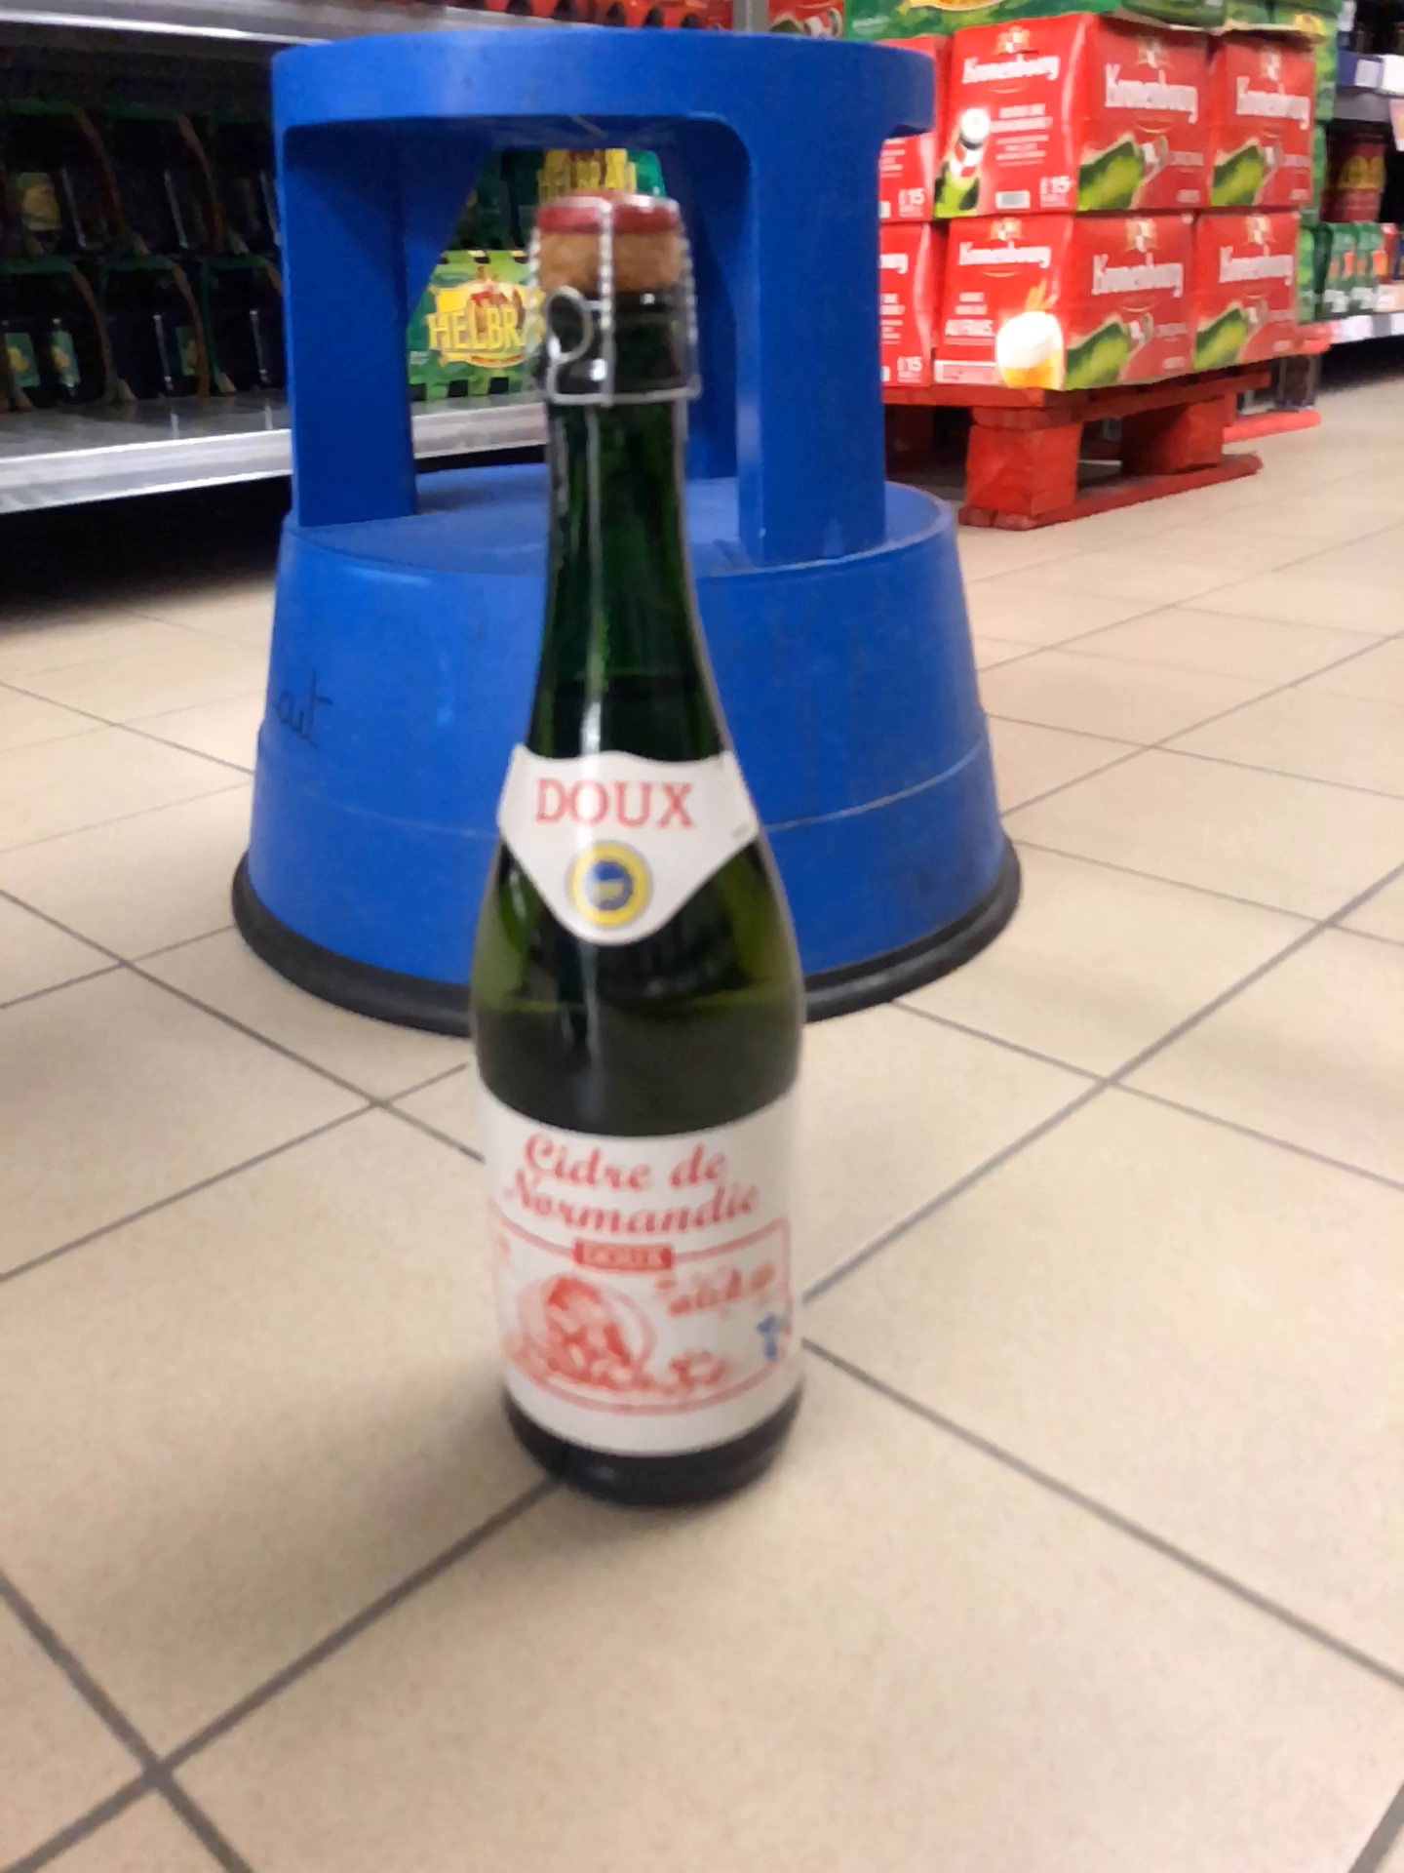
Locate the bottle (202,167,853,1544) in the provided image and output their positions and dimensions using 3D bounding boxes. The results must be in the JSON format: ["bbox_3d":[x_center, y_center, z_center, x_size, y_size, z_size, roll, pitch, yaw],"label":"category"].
[{"bbox_3d":[-0.025,-0.013,0.354,0.100,0.288,0.091,5,24,16],"label":"bottle"}]
